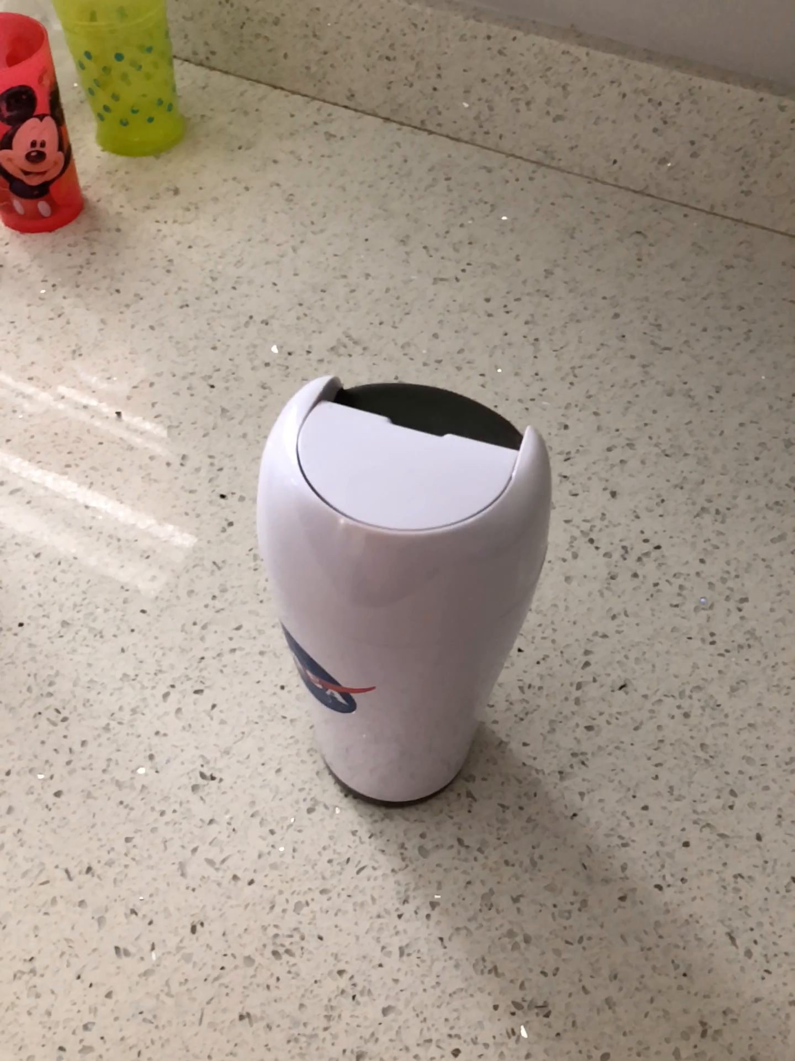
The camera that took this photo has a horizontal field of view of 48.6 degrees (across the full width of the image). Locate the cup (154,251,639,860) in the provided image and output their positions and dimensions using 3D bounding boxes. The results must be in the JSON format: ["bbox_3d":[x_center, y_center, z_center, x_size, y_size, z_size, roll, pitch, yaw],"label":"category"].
[{"bbox_3d":[-0.002,0.023,0.277,0.080,0.182,0.078,0,56,-1],"label":"cup"}]
